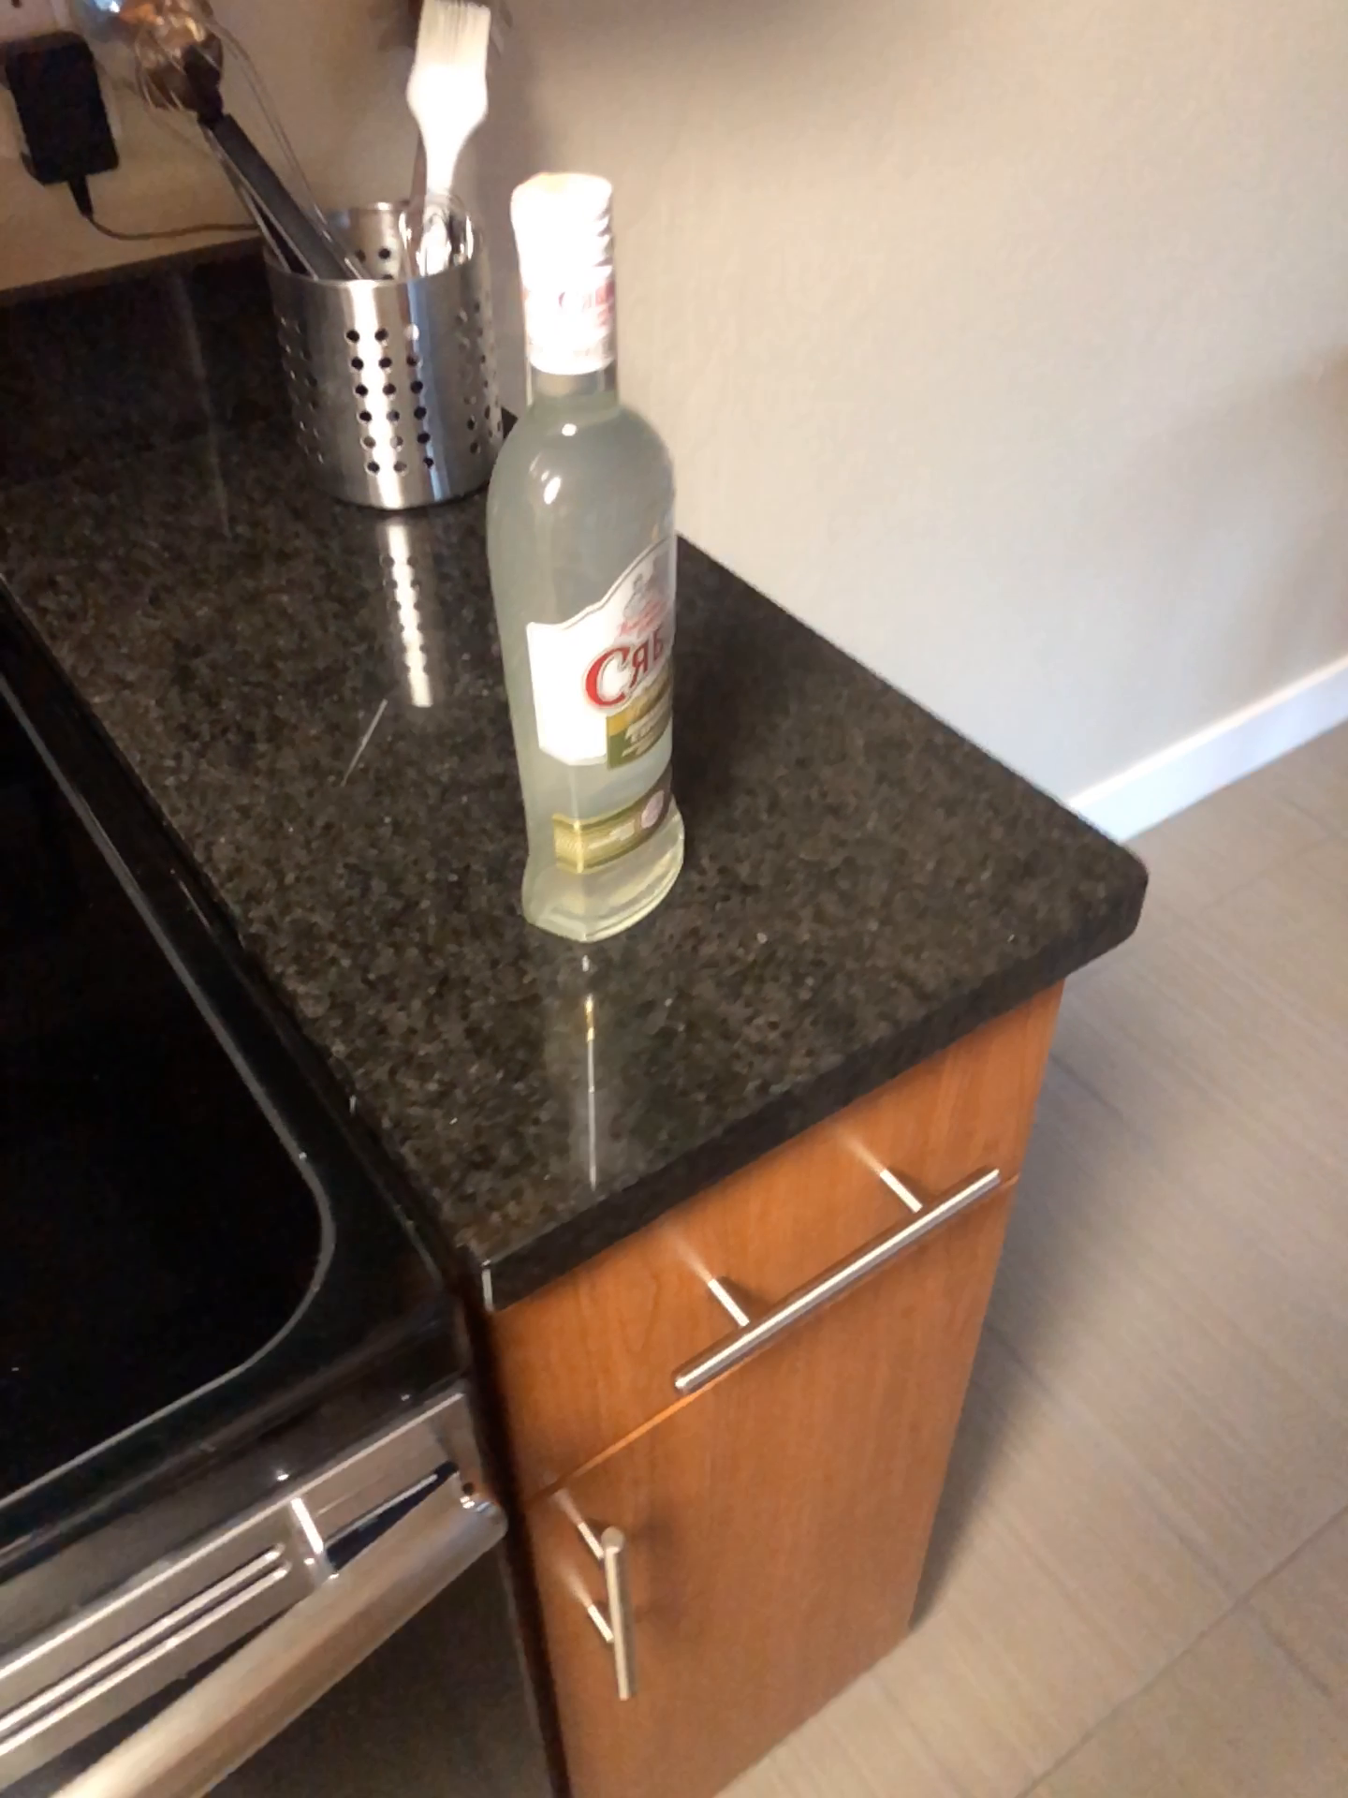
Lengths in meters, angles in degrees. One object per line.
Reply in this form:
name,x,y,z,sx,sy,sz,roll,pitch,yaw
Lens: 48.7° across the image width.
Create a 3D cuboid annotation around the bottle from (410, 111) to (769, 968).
bottle,-0.022,-0.110,0.514,0.060,0.269,0.090,25,48,25
